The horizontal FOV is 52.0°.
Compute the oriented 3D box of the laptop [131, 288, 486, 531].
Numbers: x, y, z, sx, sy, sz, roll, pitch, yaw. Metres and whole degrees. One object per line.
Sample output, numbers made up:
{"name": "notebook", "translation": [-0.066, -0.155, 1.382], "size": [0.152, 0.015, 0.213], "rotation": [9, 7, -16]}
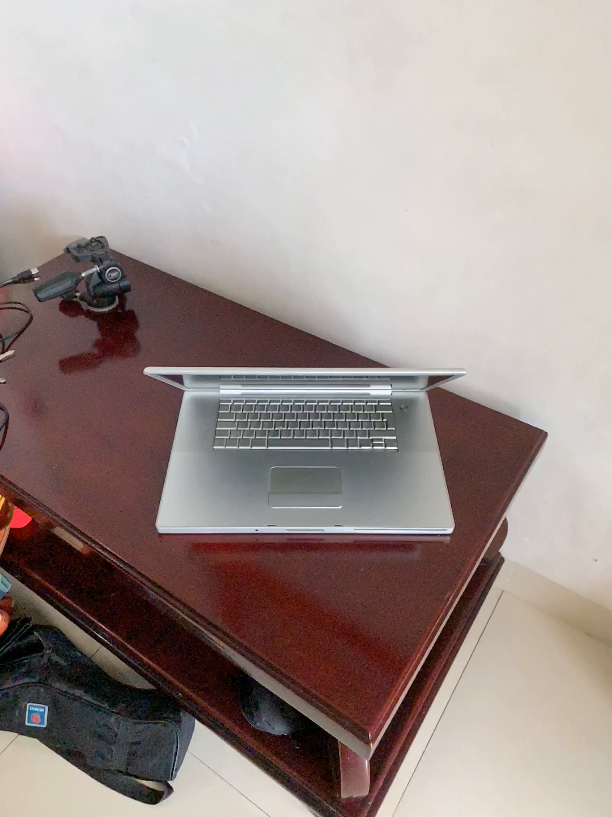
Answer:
{"name": "laptop", "translation": [0.001, -0.003, 0.863], "size": [0.399, 0.193, 0.266], "rotation": [0, 45, -1]}
